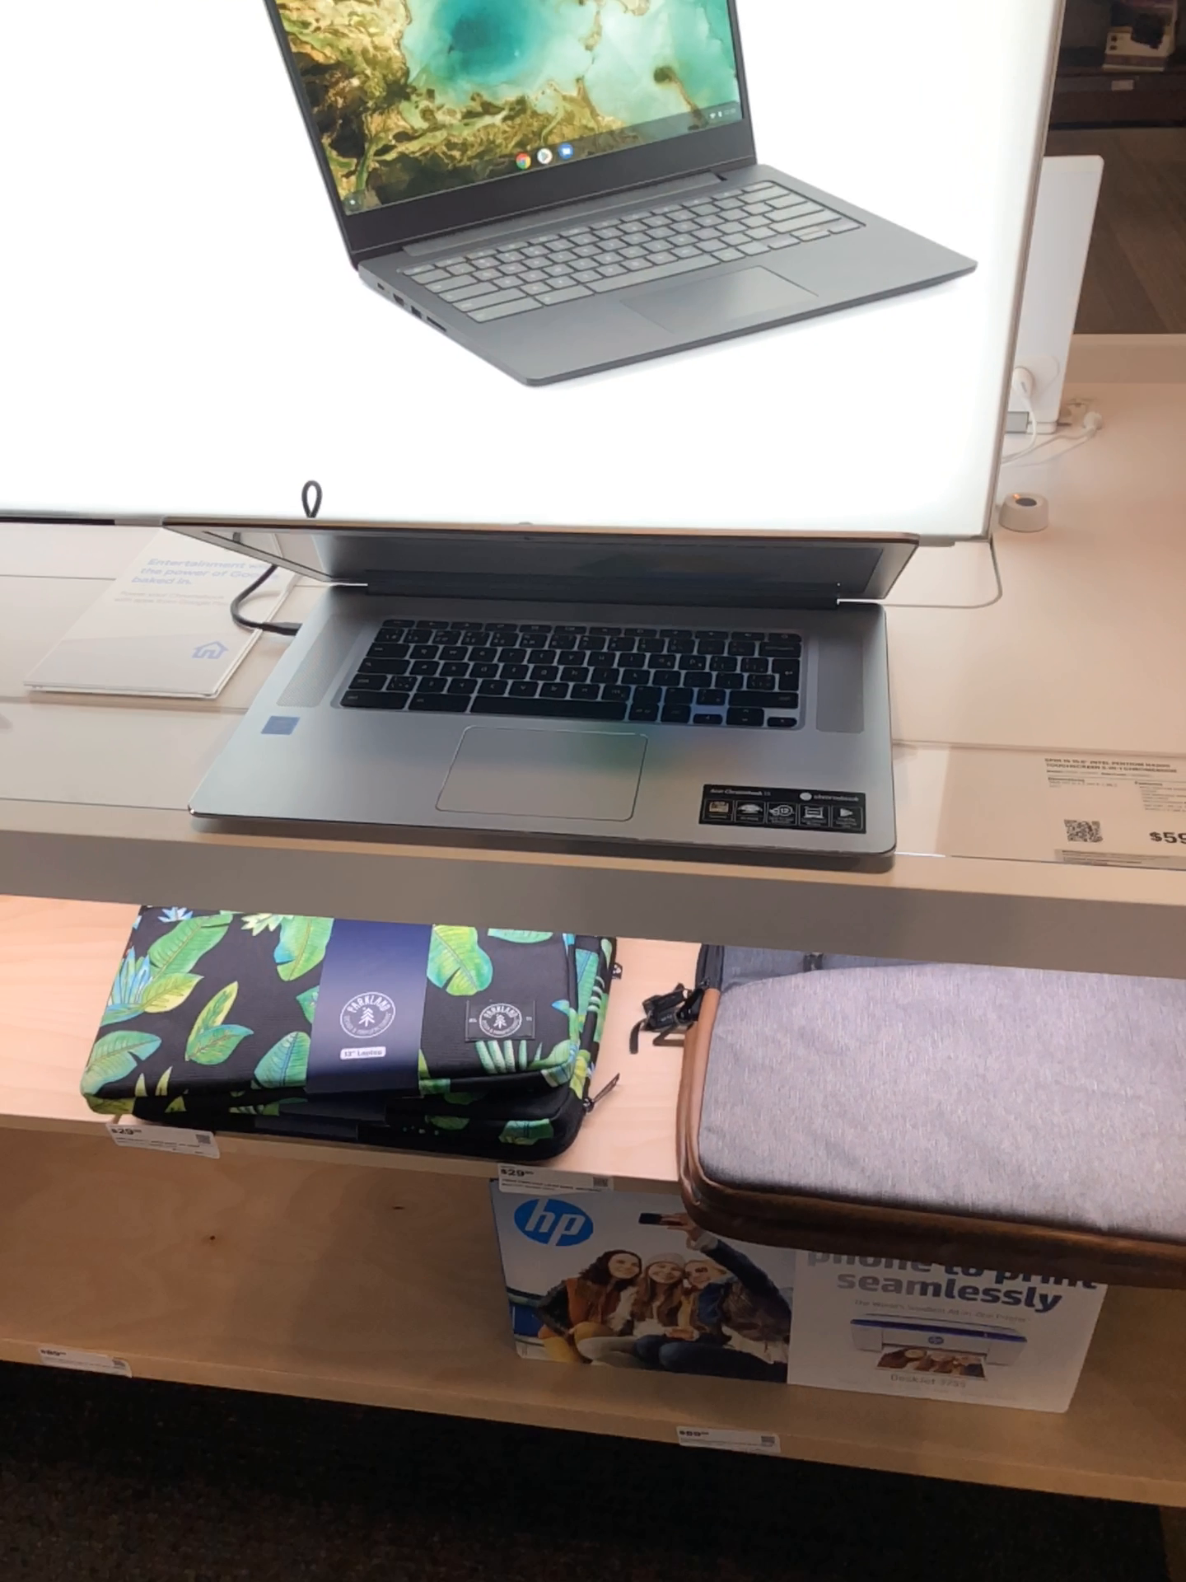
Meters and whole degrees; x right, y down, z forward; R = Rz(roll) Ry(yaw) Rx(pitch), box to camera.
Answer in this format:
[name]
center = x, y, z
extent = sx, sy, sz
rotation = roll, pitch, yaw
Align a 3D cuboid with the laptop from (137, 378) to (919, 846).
[laptop]
center = -0.017, -0.112, 0.731
extent = 0.365, 0.146, 0.231
rotation = 3, 39, 6
